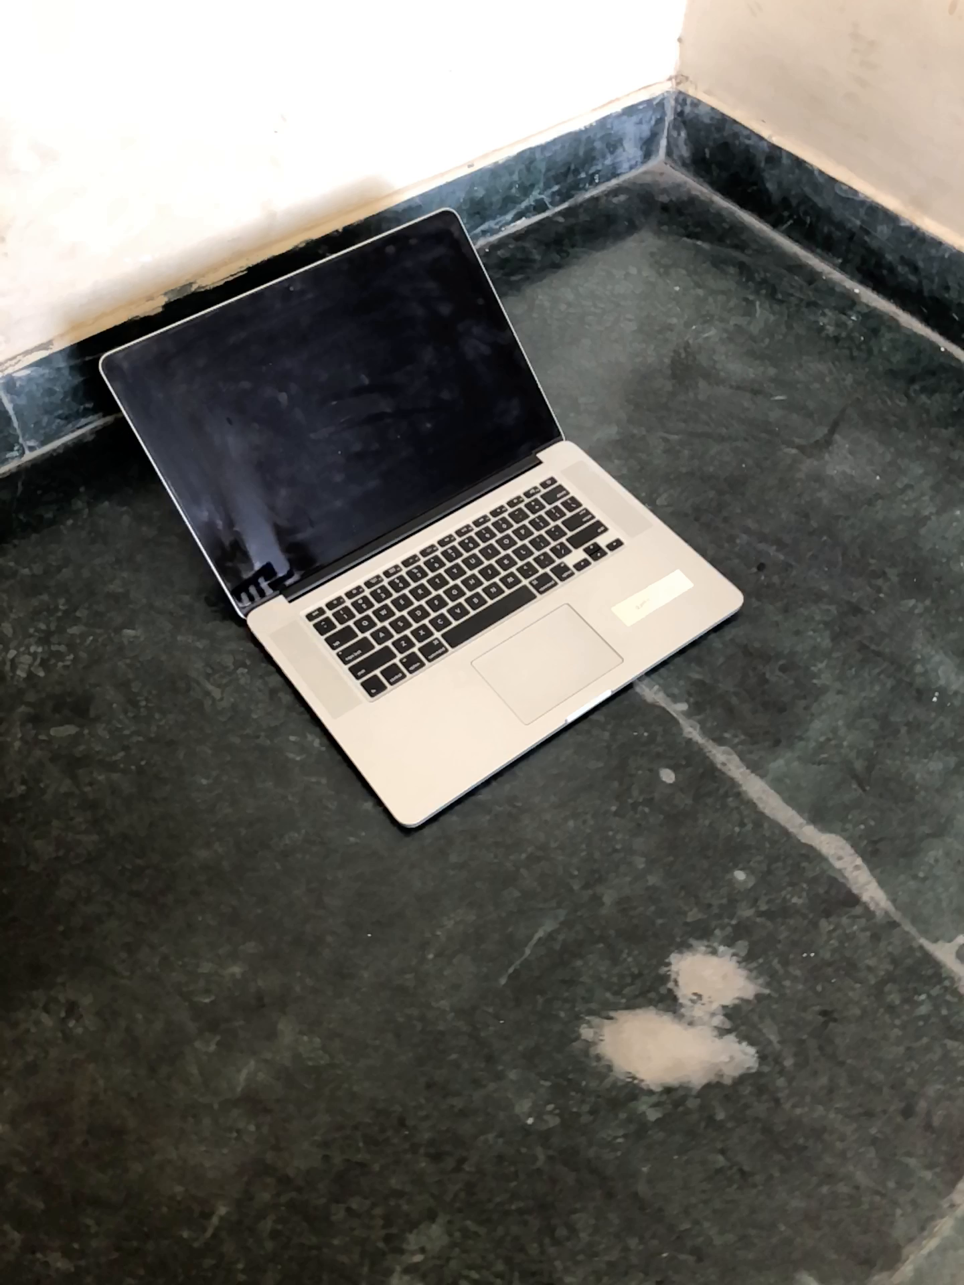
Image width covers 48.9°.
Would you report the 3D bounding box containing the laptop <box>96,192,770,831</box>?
[{"bbox_3d":[-0.046,-0.138,0.875,0.343,0.130,0.433,-32,65,-22],"label":"laptop"}]
